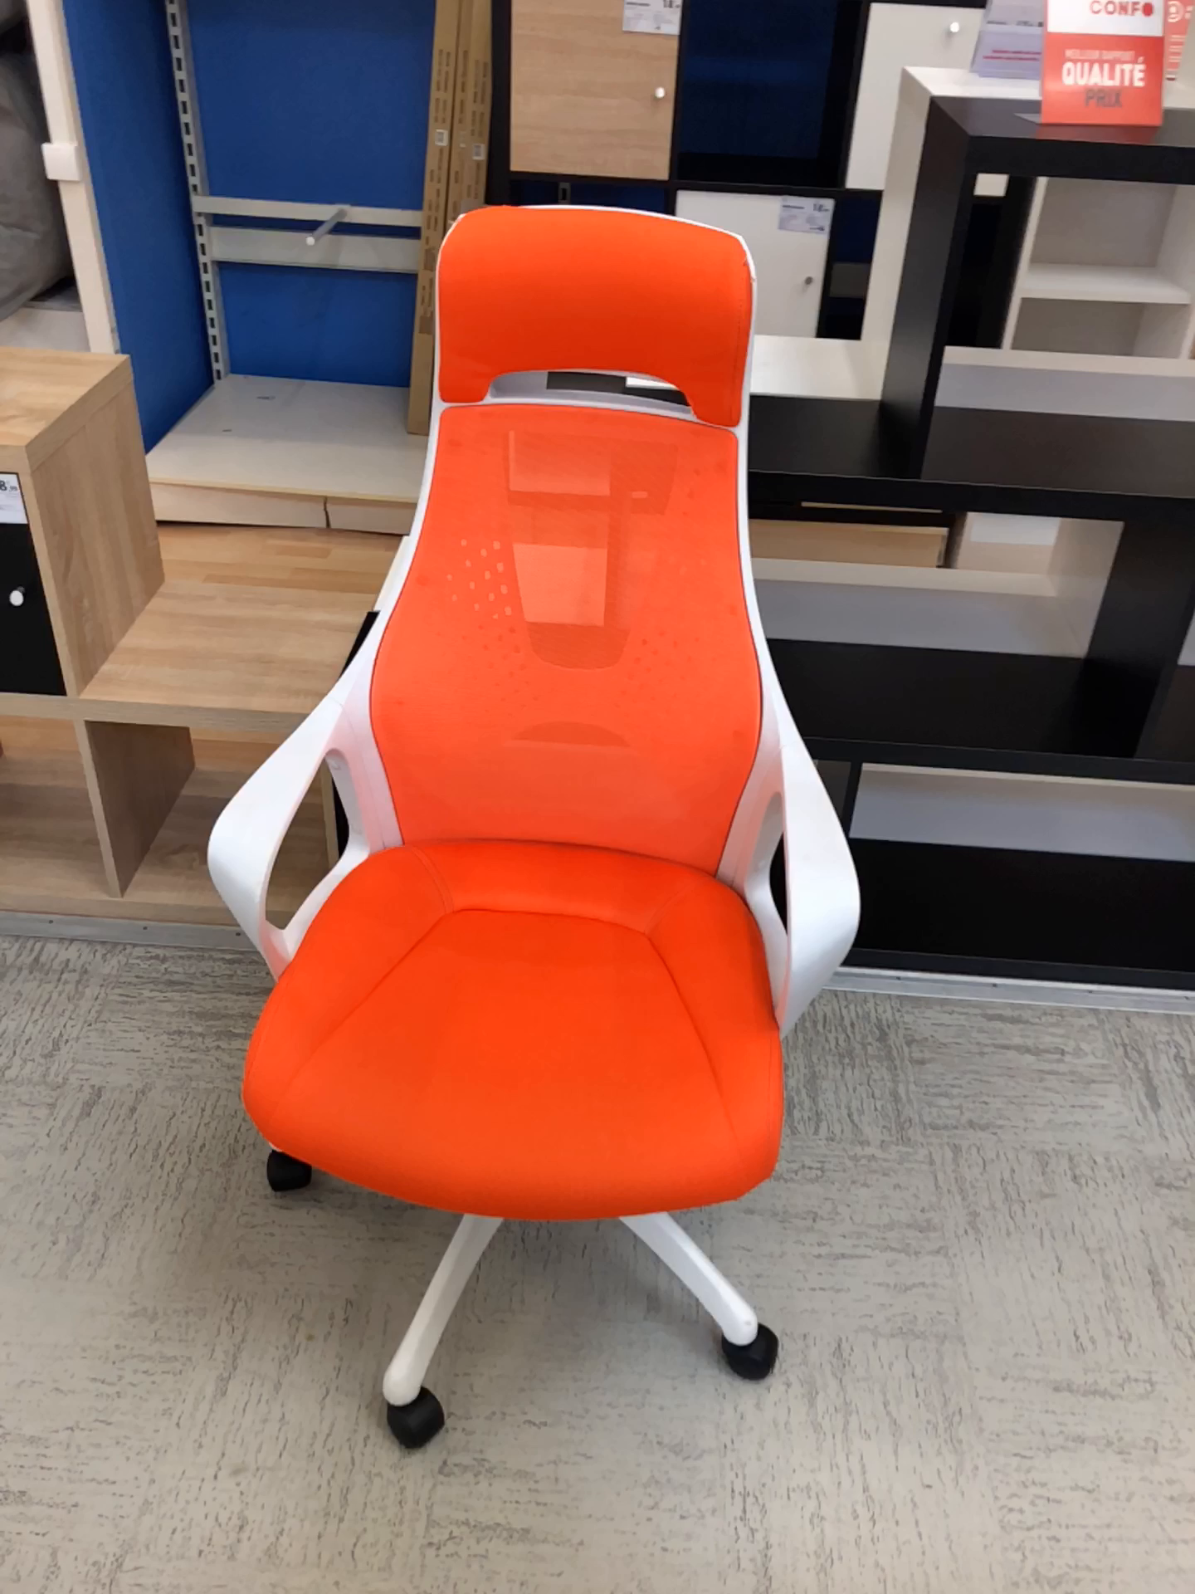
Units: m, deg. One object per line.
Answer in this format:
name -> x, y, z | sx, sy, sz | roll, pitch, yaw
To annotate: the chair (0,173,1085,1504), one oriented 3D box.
chair -> -0.054, 0.025, 1.333 | 0.680, 1.053, 0.755 | 6, 34, 4
